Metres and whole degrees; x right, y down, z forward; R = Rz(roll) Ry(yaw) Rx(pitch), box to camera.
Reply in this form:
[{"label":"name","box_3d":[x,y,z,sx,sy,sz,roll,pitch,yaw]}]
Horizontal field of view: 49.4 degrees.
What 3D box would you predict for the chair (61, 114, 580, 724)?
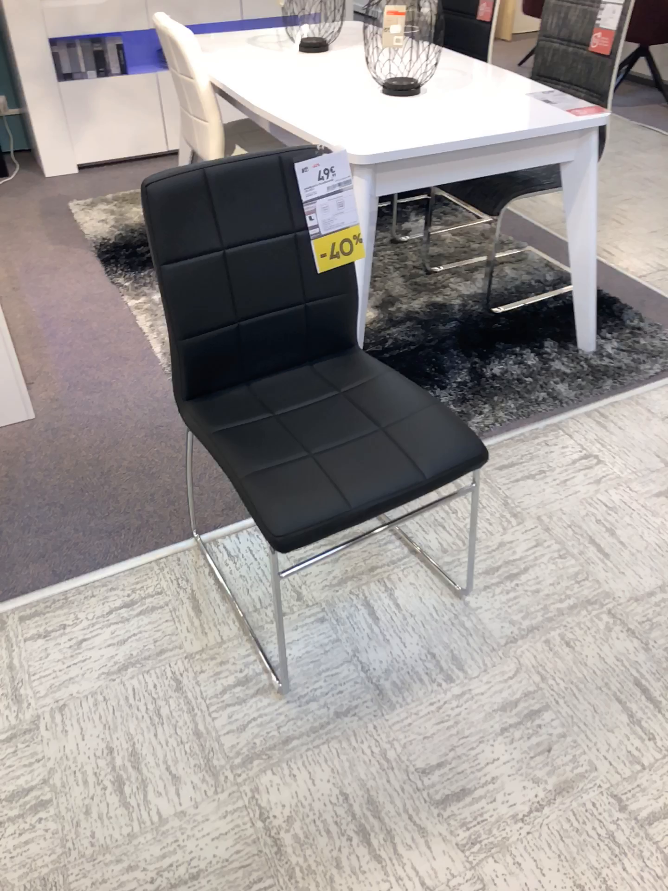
[{"label":"chair","box_3d":[-0.055,-0.081,1.350,0.552,0.795,0.632,-20,43,-23]}]
